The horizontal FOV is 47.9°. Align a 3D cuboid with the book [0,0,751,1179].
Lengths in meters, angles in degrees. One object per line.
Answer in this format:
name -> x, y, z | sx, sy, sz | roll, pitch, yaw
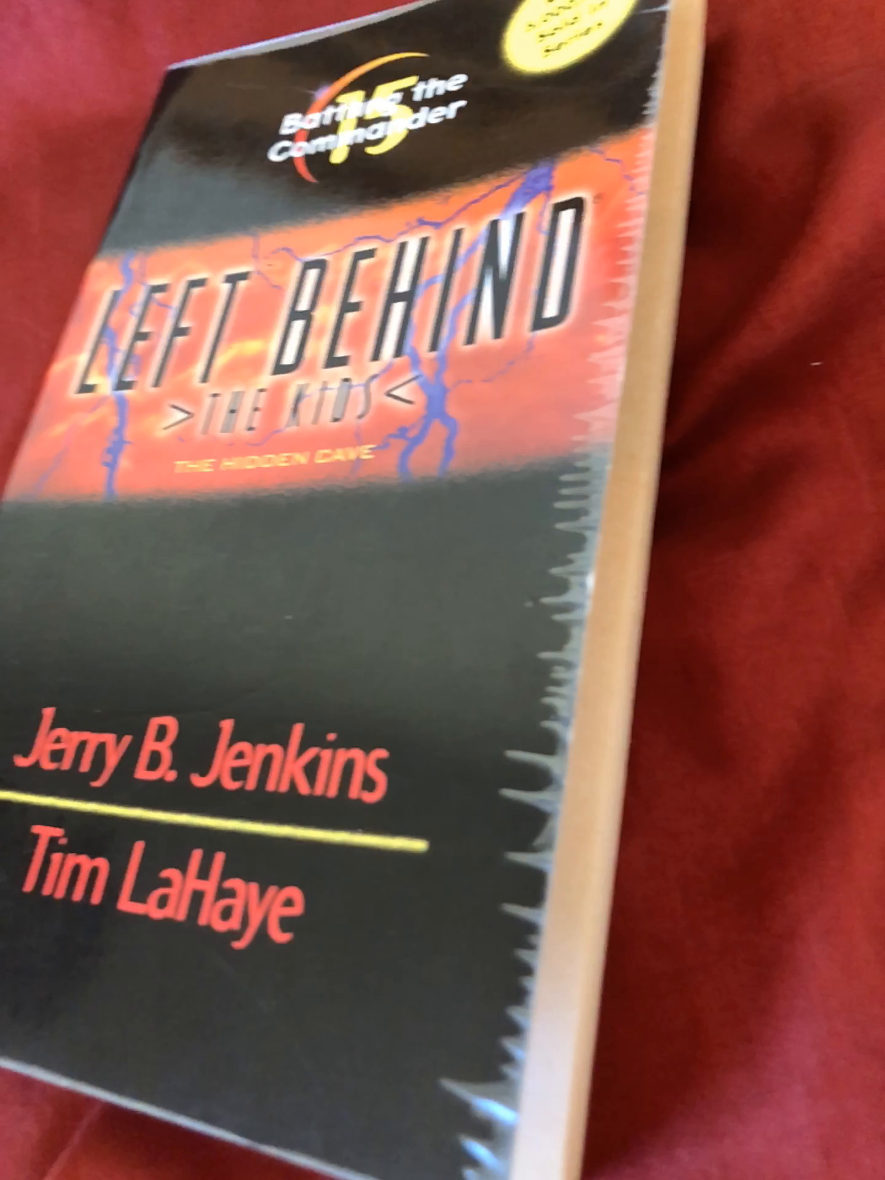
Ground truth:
book -> -0.021, -0.019, 0.144 | 0.111, 0.026, 0.170 | 2, 67, 25
